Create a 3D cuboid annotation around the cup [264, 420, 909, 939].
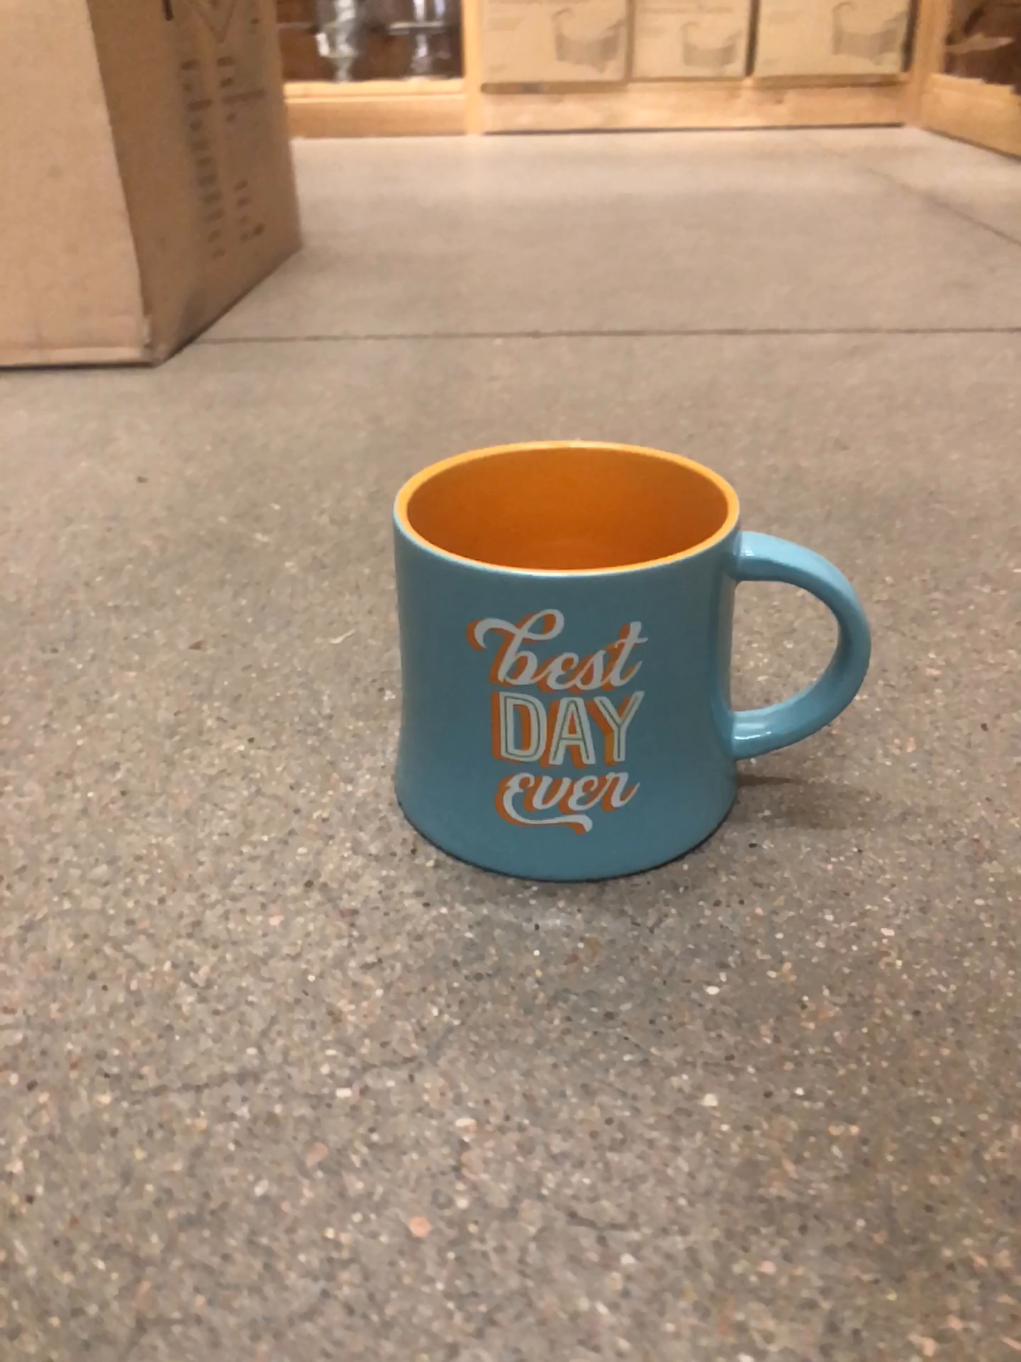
[{"bbox_3d":[0.024,-0.008,0.320,0.143,0.097,0.108,4,30,9],"label":"cup"}]
